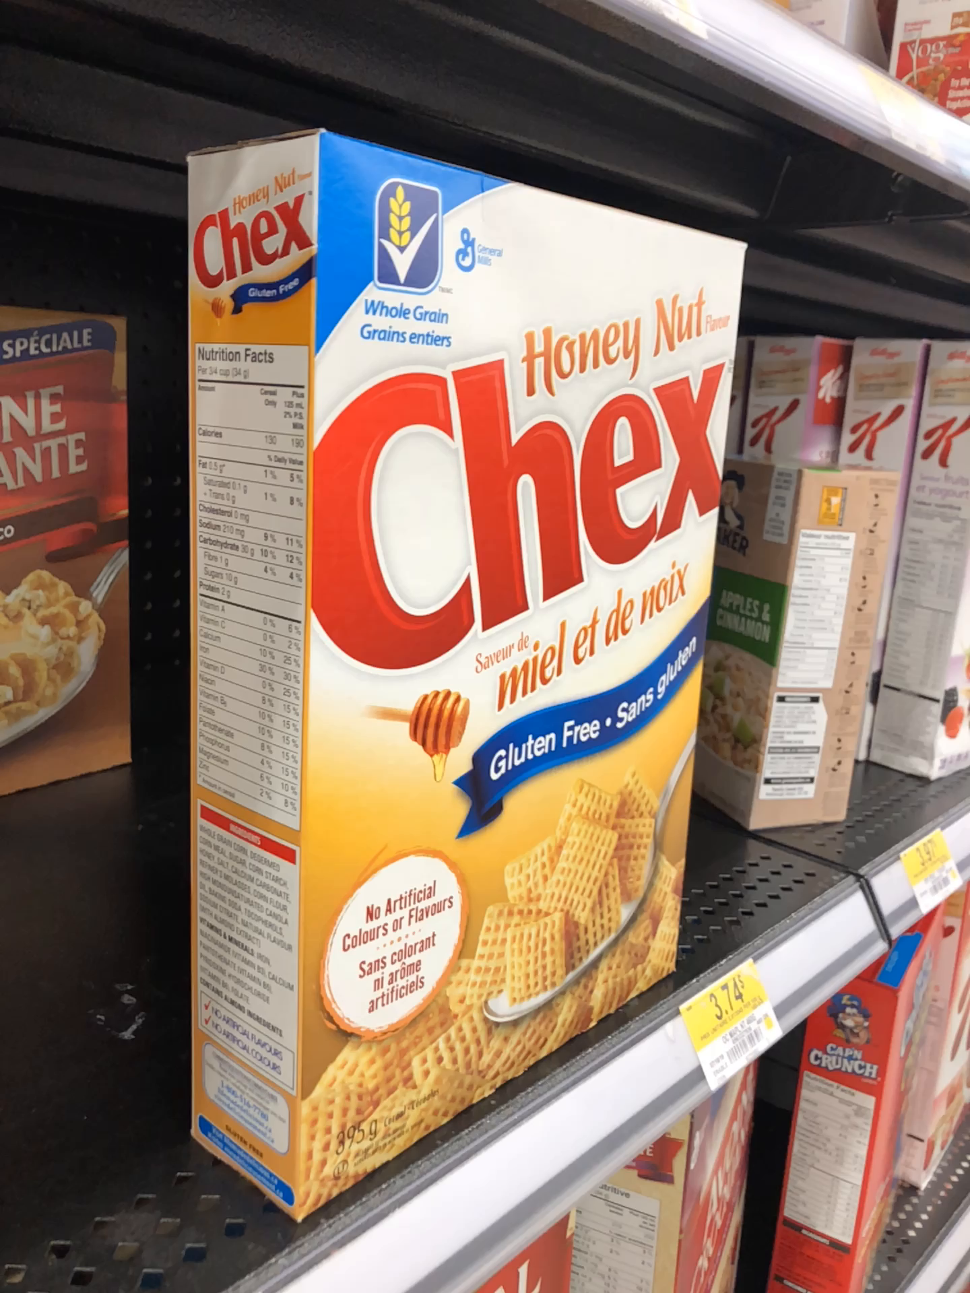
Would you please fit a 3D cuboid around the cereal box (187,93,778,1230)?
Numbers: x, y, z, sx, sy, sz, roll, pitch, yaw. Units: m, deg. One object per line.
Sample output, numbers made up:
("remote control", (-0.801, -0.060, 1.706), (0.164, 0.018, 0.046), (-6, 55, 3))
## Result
("cereal box", (0.009, 0.000, 0.351), (0.050, 0.279, 0.211), (13, 16, 40))
